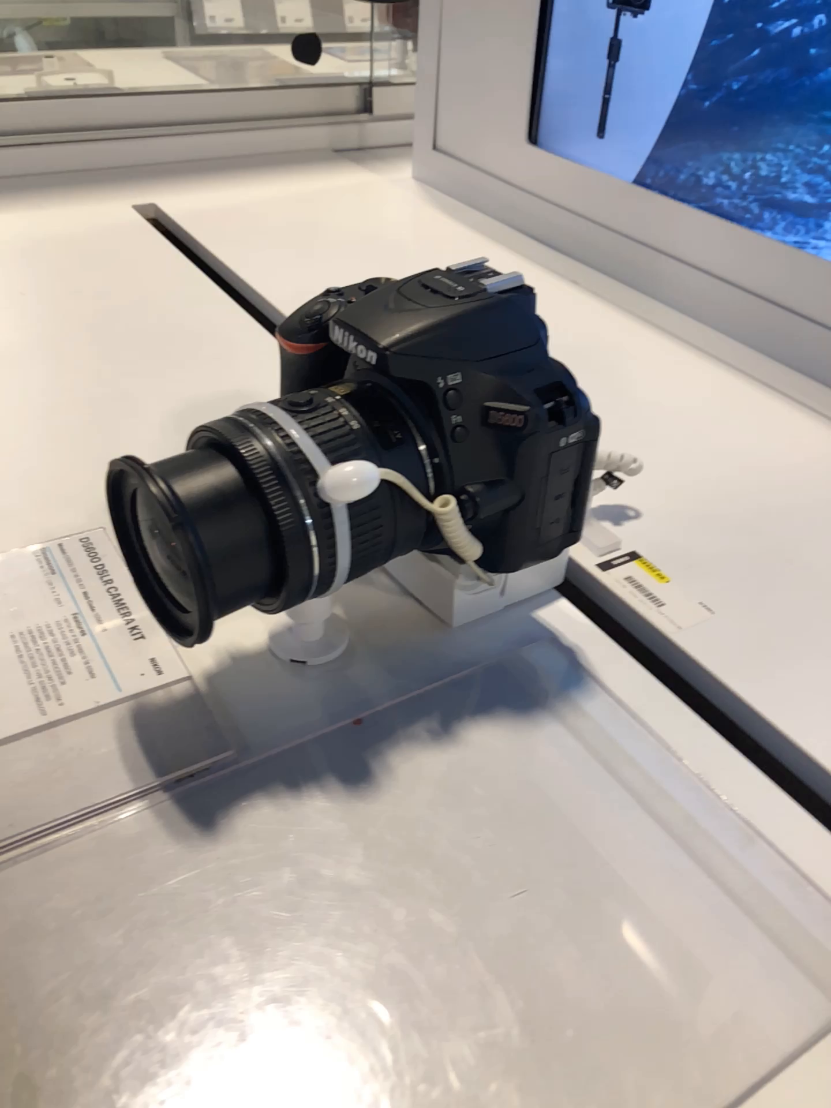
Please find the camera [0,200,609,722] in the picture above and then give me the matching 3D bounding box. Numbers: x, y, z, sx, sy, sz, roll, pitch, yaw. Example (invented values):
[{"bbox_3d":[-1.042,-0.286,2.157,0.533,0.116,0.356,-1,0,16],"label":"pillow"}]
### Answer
[{"bbox_3d":[-0.040,-0.045,0.304,0.140,0.089,0.131,-23,44,-32],"label":"camera"}]
